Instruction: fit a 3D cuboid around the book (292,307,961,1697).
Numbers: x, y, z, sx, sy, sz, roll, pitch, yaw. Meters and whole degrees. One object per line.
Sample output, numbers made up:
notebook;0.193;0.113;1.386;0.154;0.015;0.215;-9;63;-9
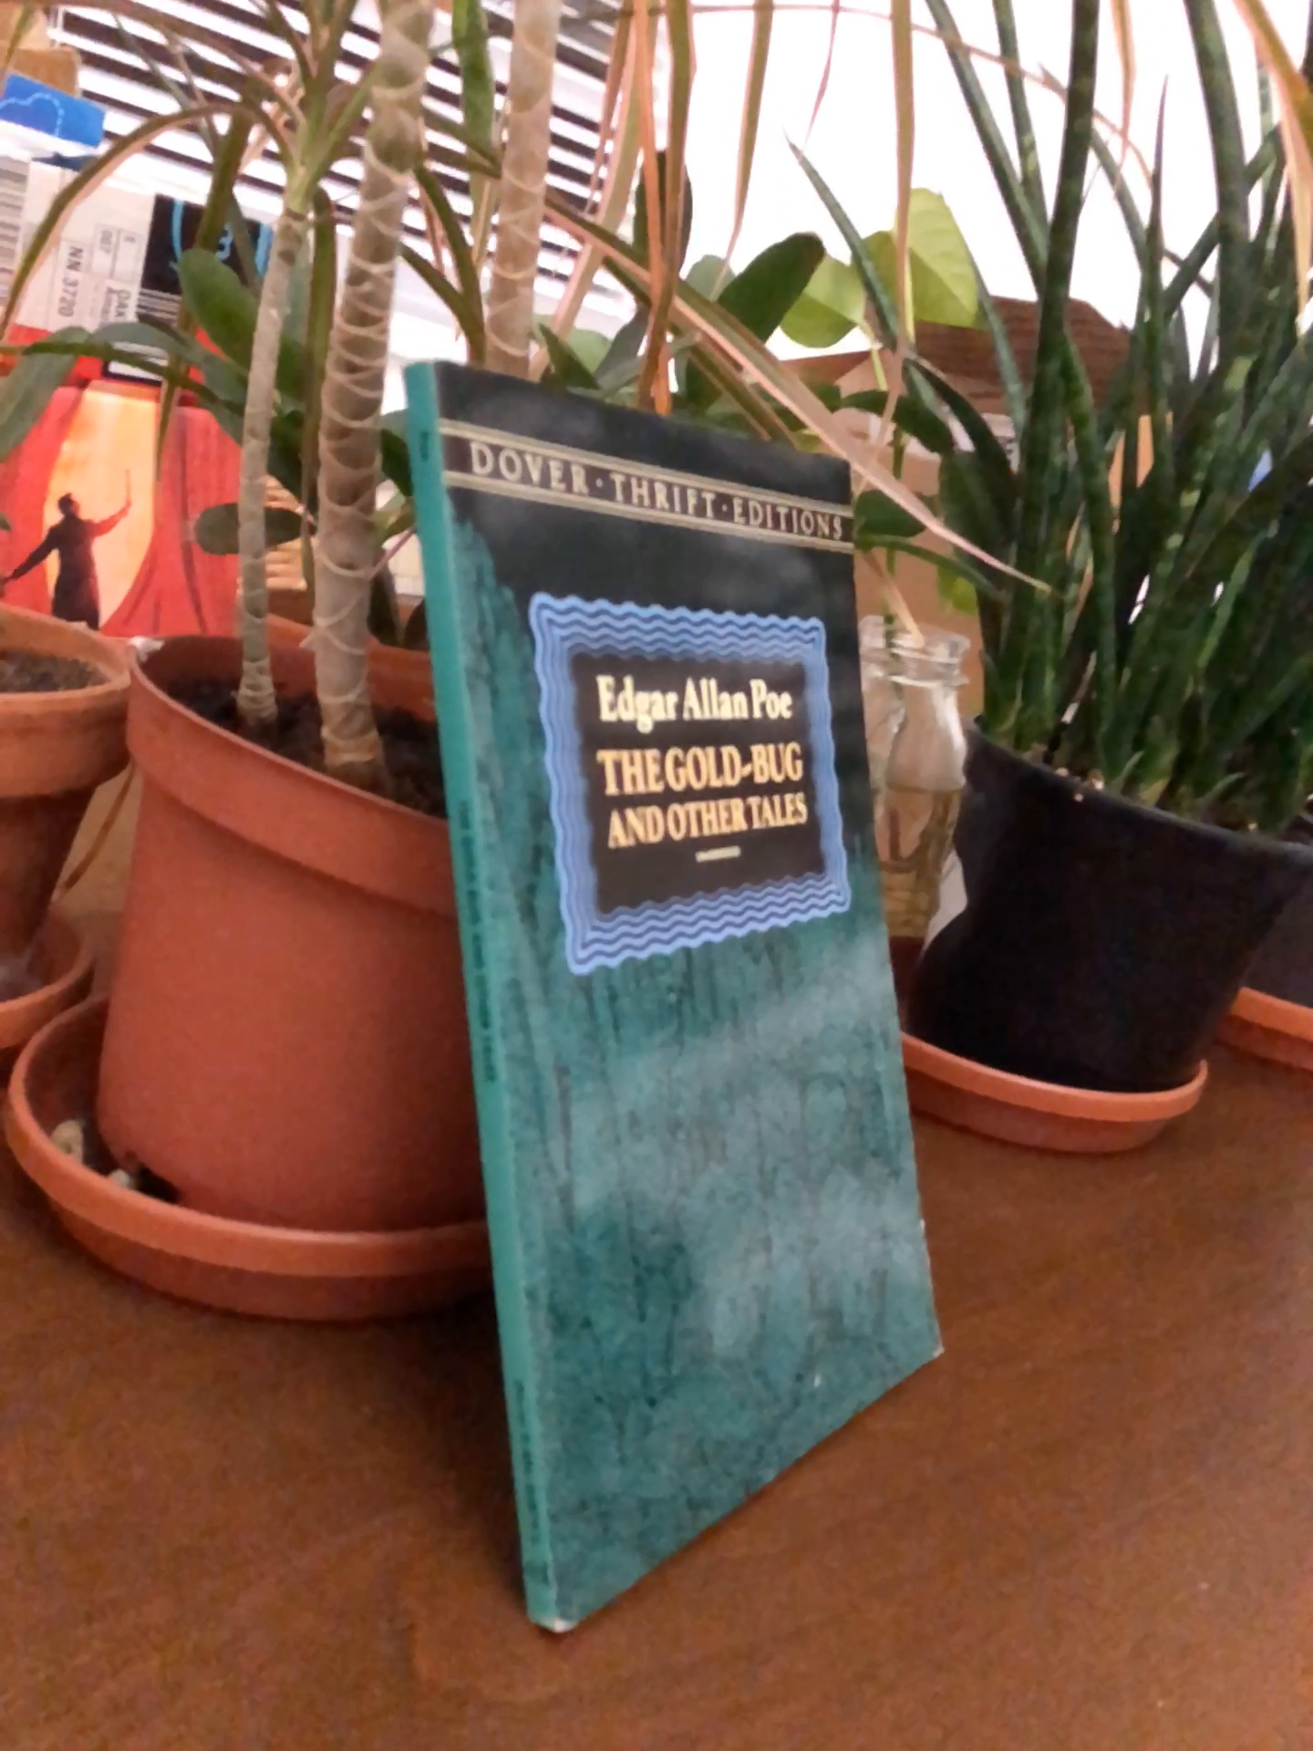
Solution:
book;0.006;0.014;0.277;0.020;0.210;0.140;-6;2;39
